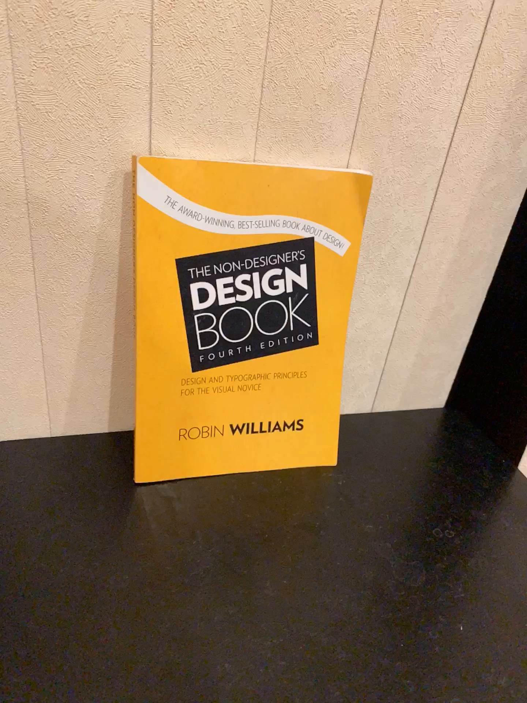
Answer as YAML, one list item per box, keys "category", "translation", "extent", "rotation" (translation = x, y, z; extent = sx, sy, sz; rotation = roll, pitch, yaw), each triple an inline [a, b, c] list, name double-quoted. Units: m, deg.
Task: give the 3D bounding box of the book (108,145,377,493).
- category: "book"
  translation: [-0.020, -0.018, 0.429]
  extent: [0.190, 0.259, 0.030]
  rotation: [-1, 19, -15]
